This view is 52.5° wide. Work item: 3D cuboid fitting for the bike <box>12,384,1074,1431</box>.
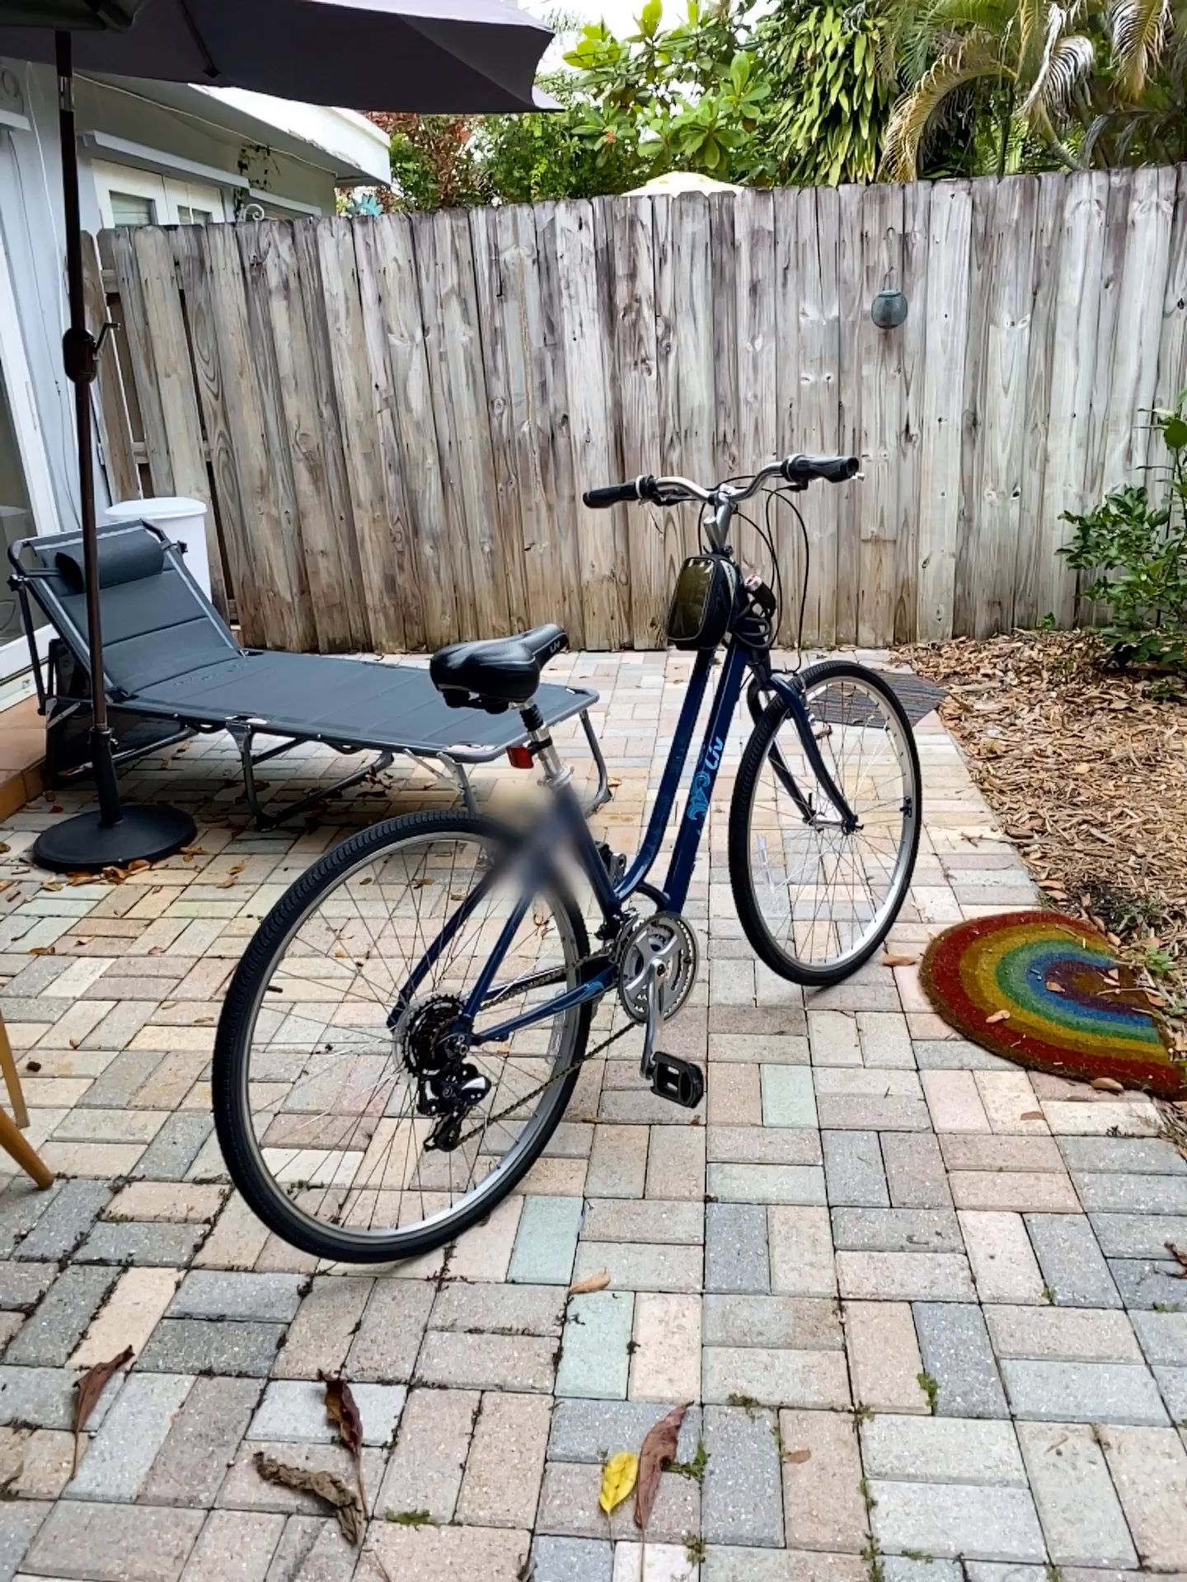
[{"bbox_3d":[0.101,-0.029,2.072,0.596,1.067,1.693,16,30,42],"label":"bike"}]
